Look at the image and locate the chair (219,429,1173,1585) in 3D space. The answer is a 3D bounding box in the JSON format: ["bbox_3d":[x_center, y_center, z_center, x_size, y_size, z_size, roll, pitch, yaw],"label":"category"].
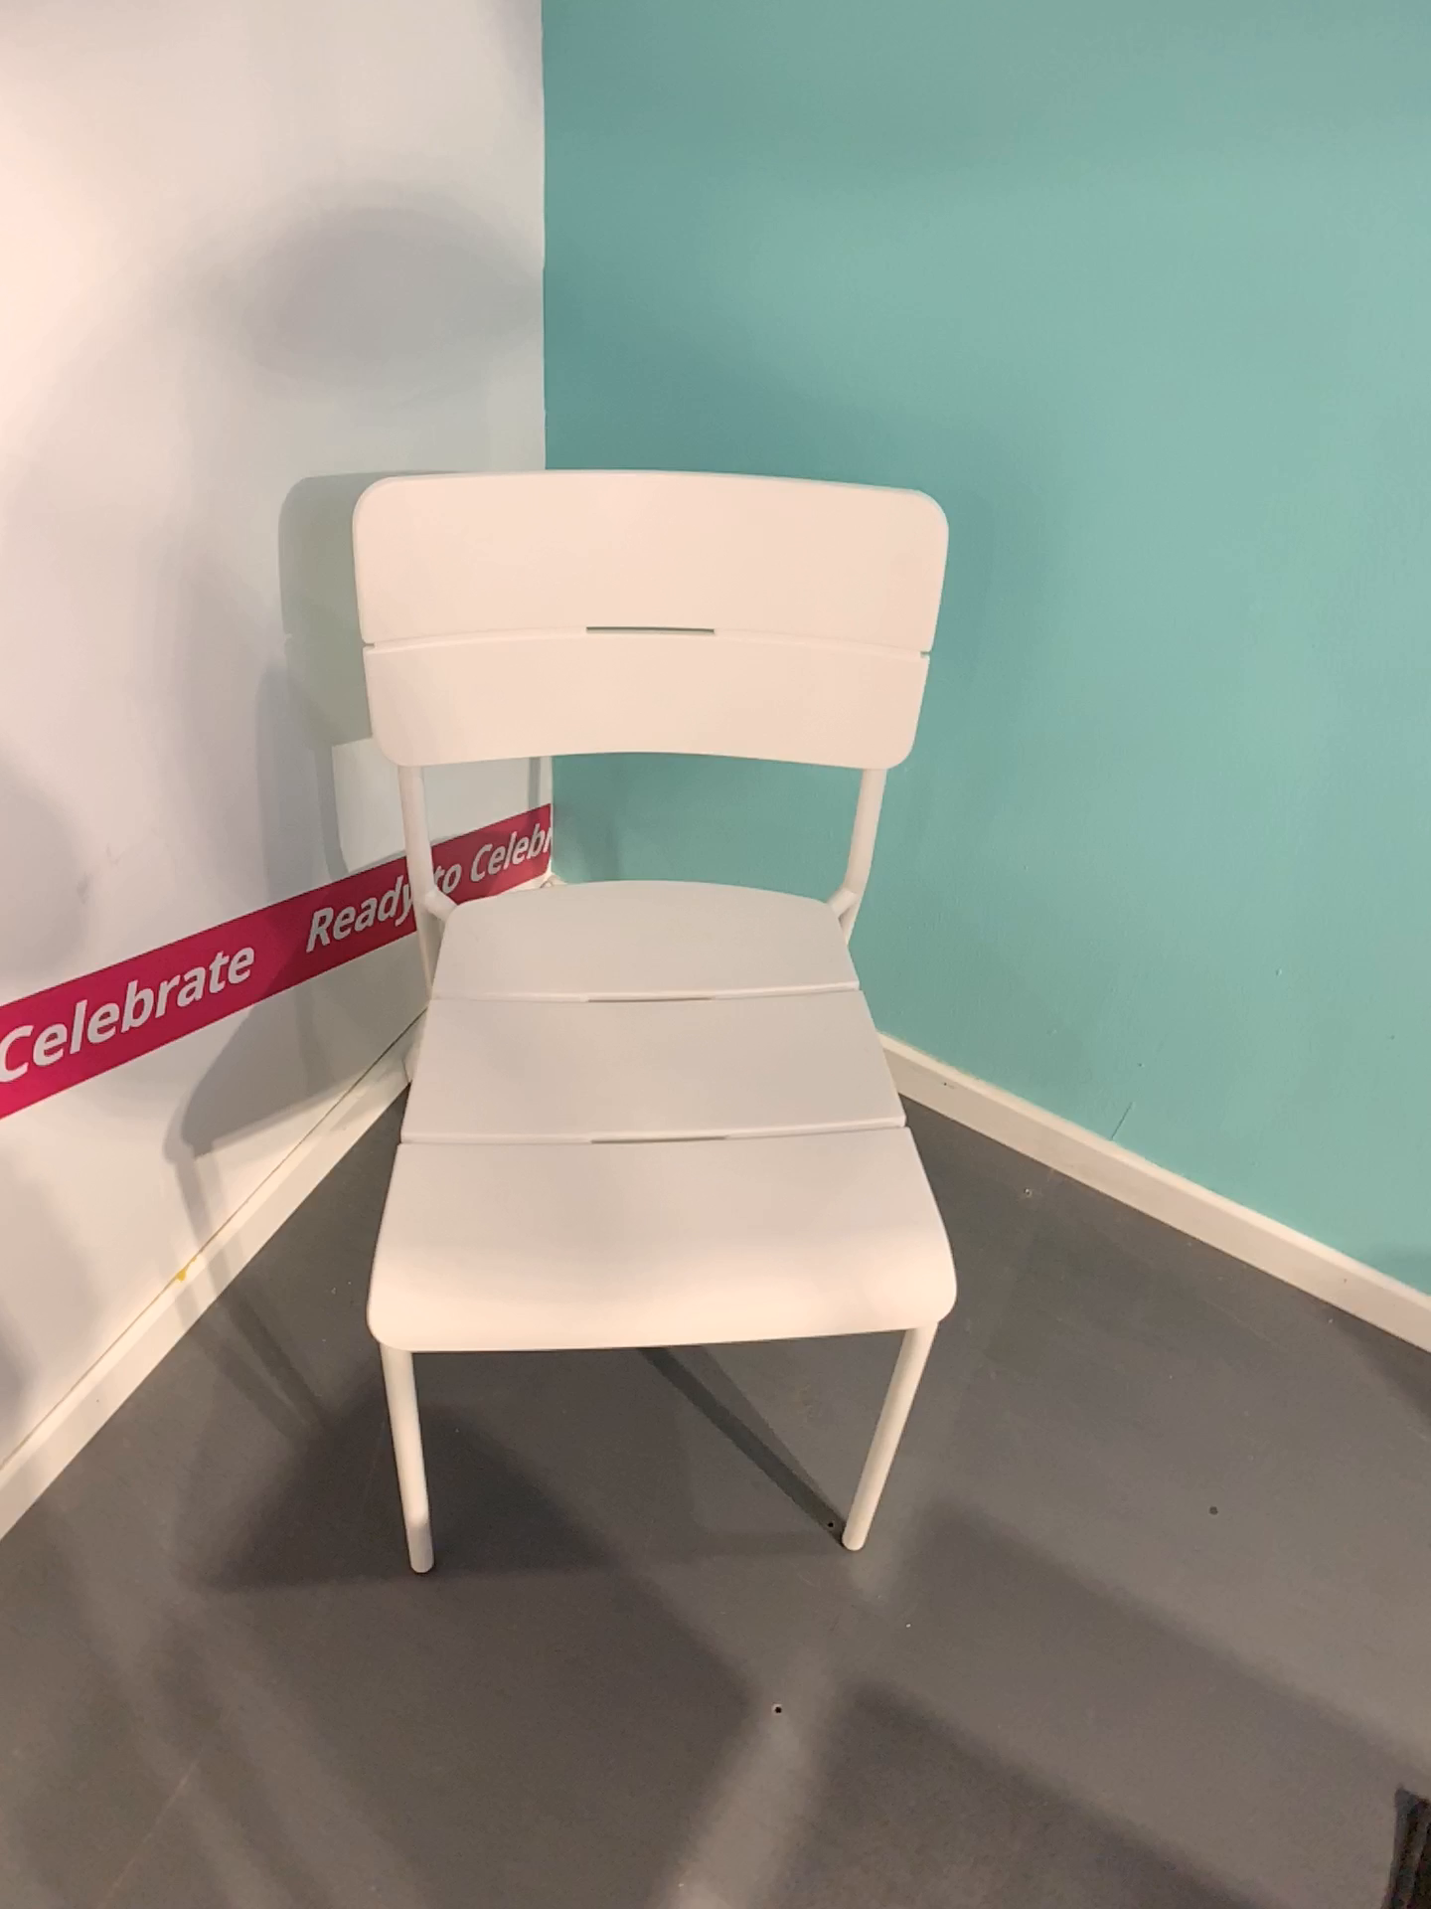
[{"bbox_3d":[-0.048,0.101,1.104,0.430,0.808,0.451,0,49,-6],"label":"chair"}]
